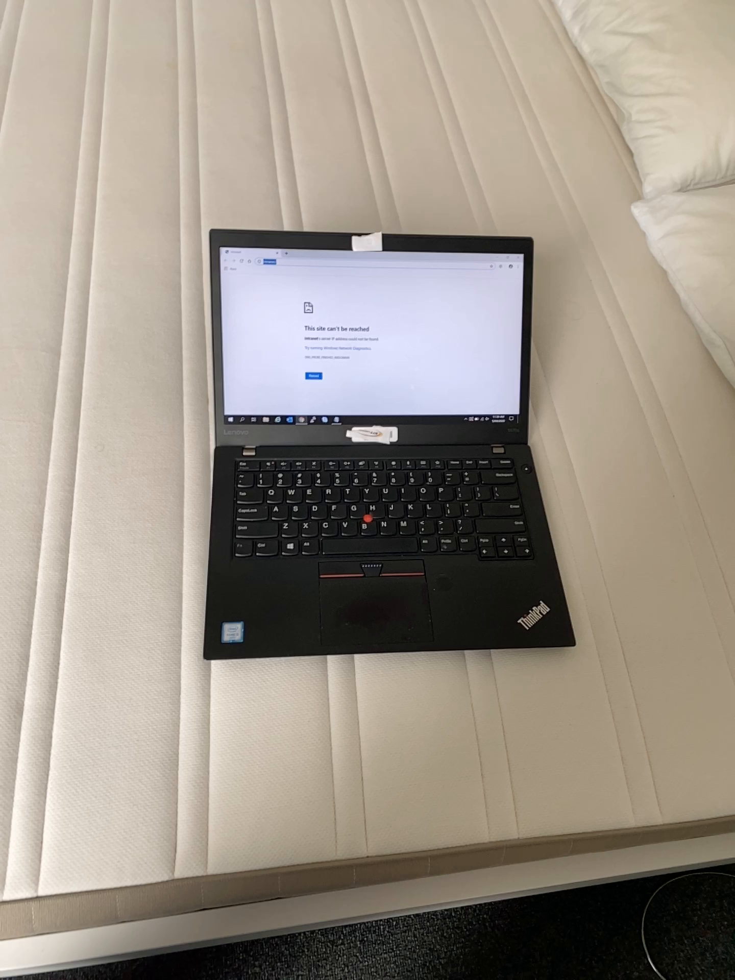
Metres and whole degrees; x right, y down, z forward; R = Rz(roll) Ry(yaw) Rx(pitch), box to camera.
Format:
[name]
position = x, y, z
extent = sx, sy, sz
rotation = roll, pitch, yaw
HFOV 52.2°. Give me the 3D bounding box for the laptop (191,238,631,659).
[laptop]
position = 0.017, -0.052, 0.691
extent = 0.320, 0.120, 0.382
rotation = 0, 56, -8
